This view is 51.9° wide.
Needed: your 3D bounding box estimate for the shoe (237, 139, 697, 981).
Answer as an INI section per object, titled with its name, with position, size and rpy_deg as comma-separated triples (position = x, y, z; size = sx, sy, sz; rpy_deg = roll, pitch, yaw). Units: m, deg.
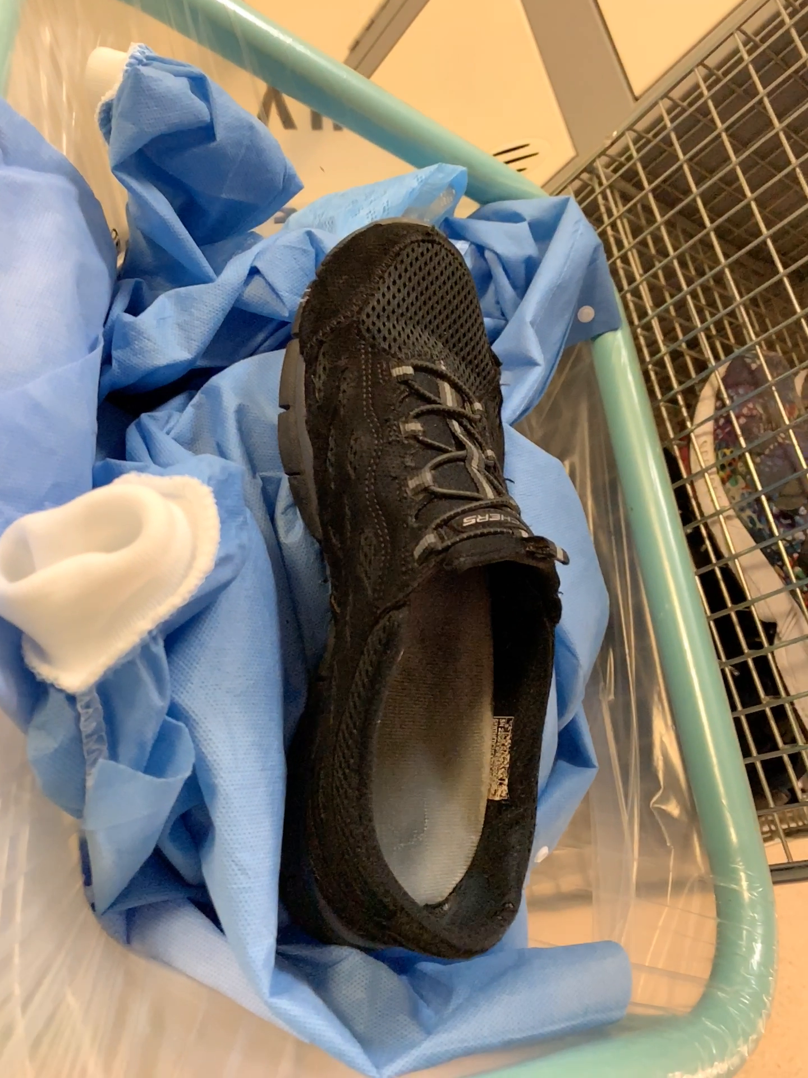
[shoe]
position = 0.008, 0.005, 0.294
size = 0.088, 0.094, 0.255
rpy_deg = 11, 63, -38
